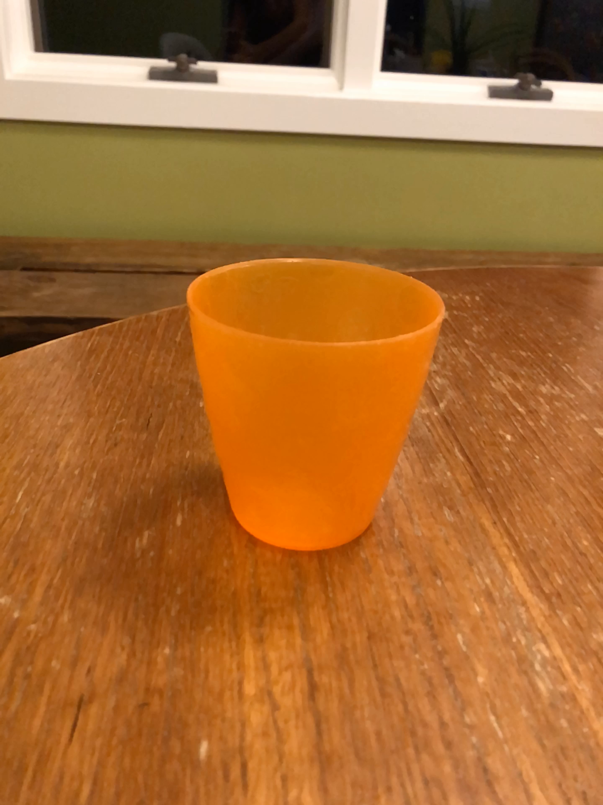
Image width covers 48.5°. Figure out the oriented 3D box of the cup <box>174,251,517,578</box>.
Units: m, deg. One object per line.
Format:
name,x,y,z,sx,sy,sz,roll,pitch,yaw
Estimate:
cup,0.005,-0.003,0.208,0.079,0.066,0.080,2,27,-1
